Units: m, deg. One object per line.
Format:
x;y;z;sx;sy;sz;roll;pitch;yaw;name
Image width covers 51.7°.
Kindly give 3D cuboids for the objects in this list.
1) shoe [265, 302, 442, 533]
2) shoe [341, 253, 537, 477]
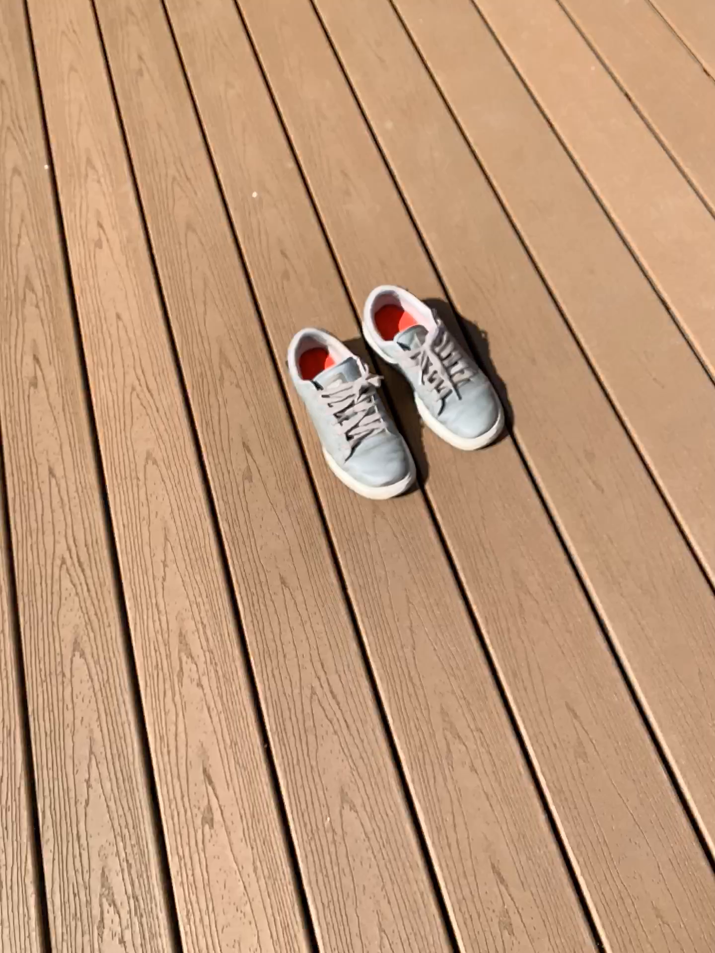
-0.007;-0.085;1.025;0.120;0.100;0.291;-27;64;-5;shoe
0.107;-0.159;1.029;0.120;0.100;0.291;-31;65;-7;shoe
